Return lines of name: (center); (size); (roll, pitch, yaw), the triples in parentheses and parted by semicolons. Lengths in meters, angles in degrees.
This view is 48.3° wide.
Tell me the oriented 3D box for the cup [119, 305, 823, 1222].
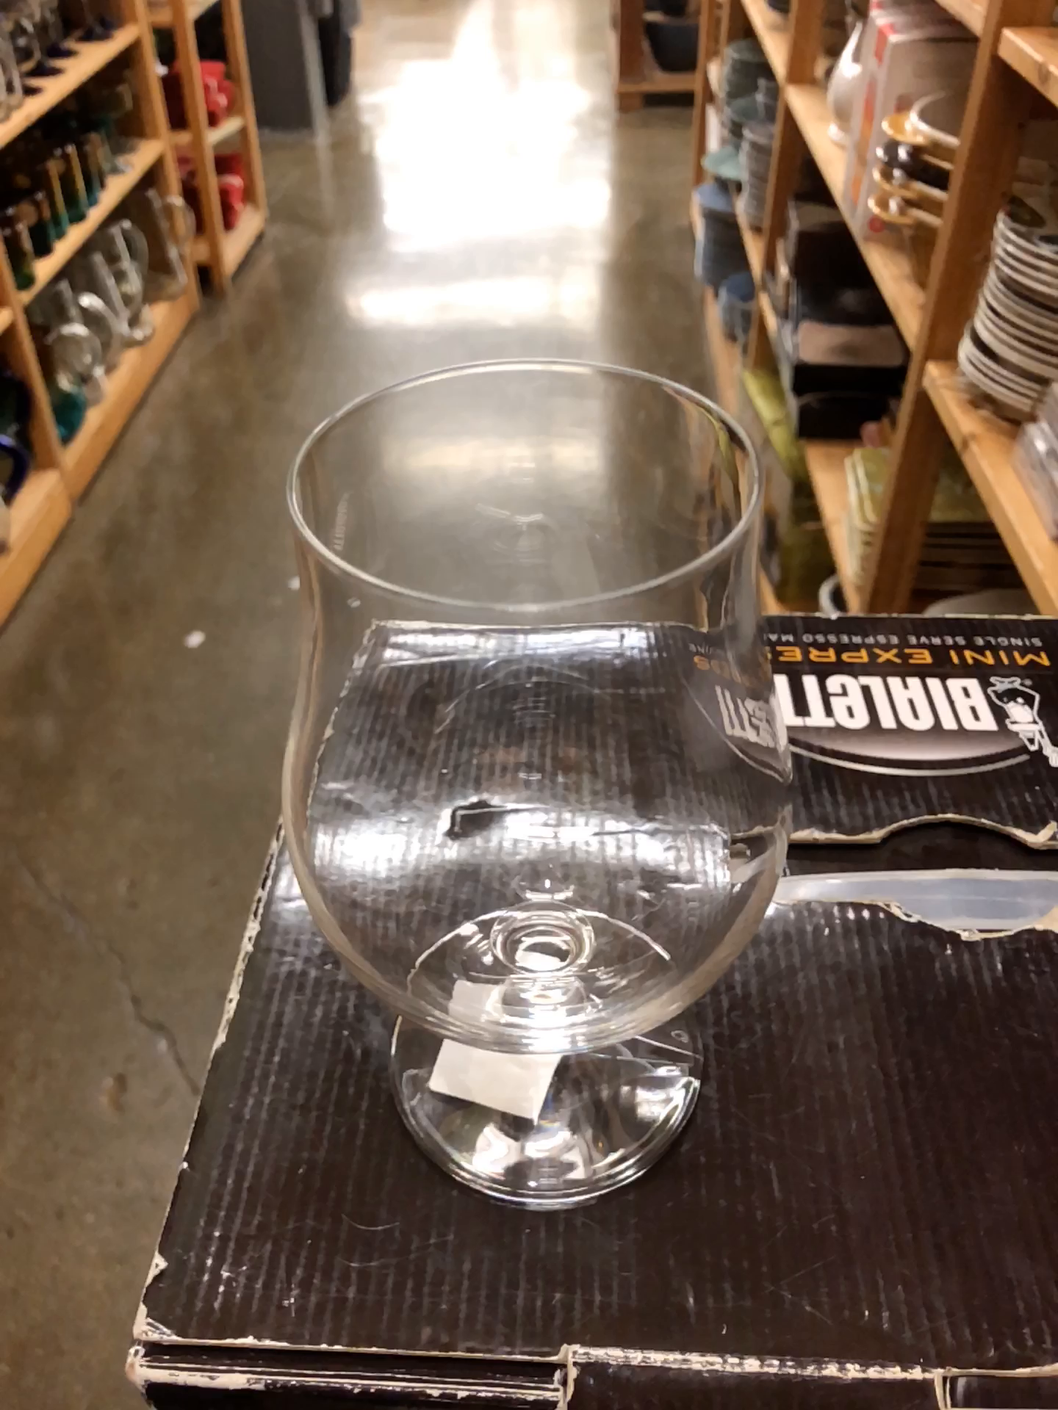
cup: (-0.004, 0.016, 0.211); (0.079, 0.145, 0.083); (-1, 40, 1)
